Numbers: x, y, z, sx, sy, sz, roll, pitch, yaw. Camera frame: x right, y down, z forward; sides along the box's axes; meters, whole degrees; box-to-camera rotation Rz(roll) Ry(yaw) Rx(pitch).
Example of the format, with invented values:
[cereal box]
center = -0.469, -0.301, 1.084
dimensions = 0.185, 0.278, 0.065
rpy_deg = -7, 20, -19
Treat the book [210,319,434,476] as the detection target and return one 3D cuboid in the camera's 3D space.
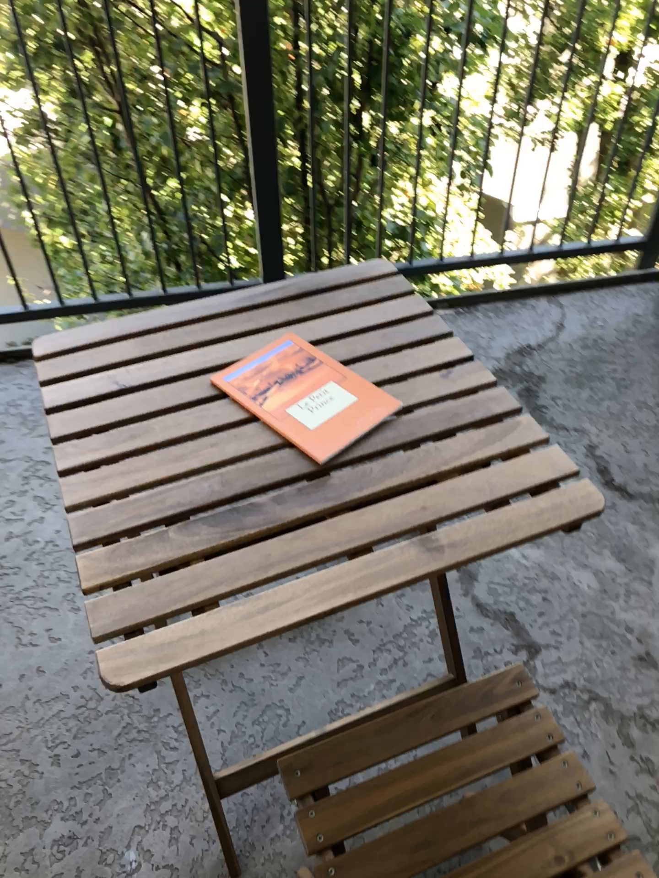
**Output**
[book]
center = -0.013, -0.067, 0.985
dimensions = 0.180, 0.010, 0.251
rpy_deg = -35, 54, -29
